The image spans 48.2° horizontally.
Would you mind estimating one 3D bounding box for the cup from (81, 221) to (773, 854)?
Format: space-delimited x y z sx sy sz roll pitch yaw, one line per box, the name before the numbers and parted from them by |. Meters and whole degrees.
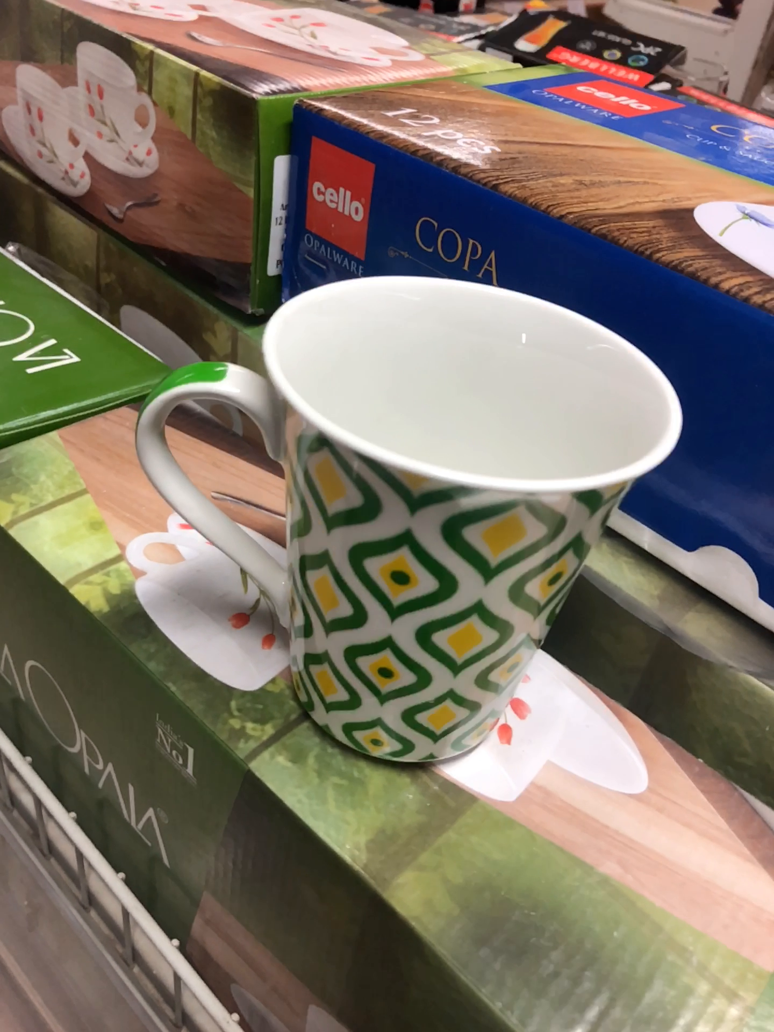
cup | 0.008 0.008 0.201 0.120 0.109 0.081 6 40 -3
